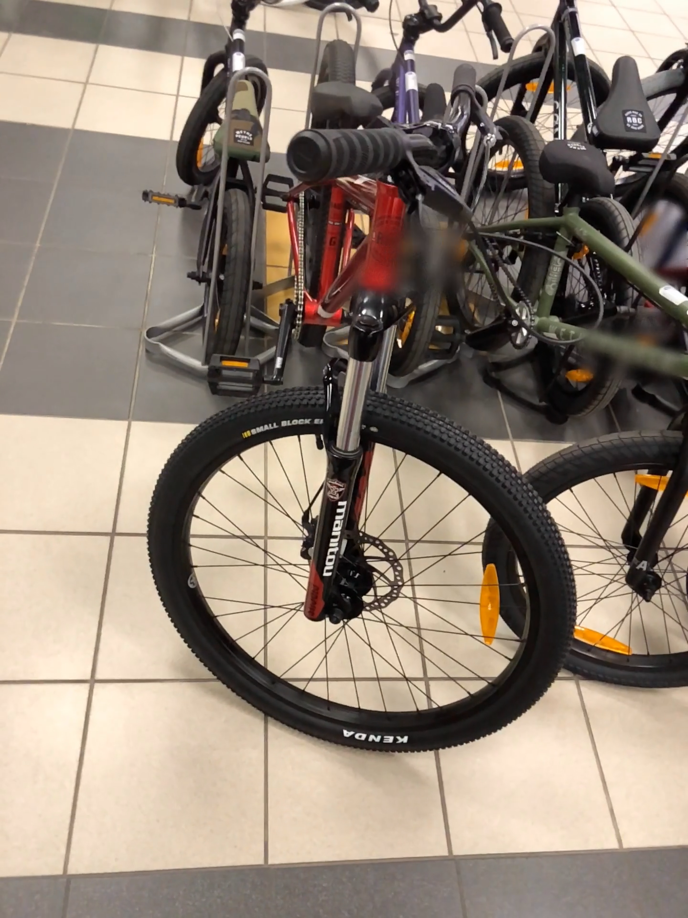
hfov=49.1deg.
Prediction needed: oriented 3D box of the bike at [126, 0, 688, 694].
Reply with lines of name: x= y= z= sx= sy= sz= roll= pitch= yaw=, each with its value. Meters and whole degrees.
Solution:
bike: x=0.049 y=-0.426 z=1.335 sx=0.712 sy=0.998 sz=1.342 roll=-3 pitch=50 yaw=-15
